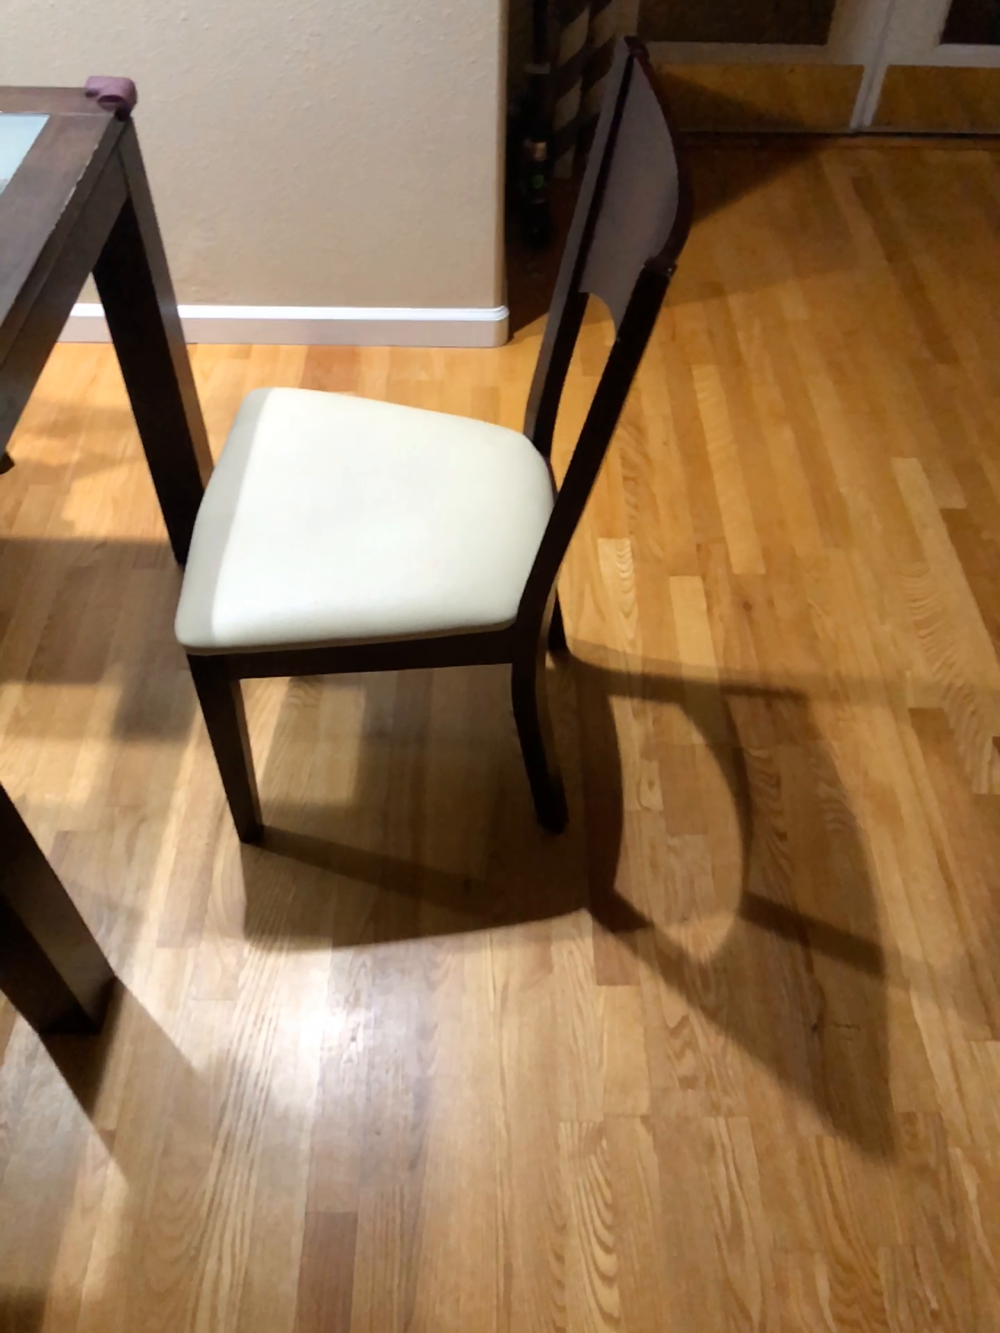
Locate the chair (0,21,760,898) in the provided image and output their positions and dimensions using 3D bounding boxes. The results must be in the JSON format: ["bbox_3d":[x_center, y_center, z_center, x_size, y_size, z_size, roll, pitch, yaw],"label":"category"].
[{"bbox_3d":[-0.131,-0.186,1.404,0.640,1.005,0.503,-2,49,-3],"label":"chair"}]
